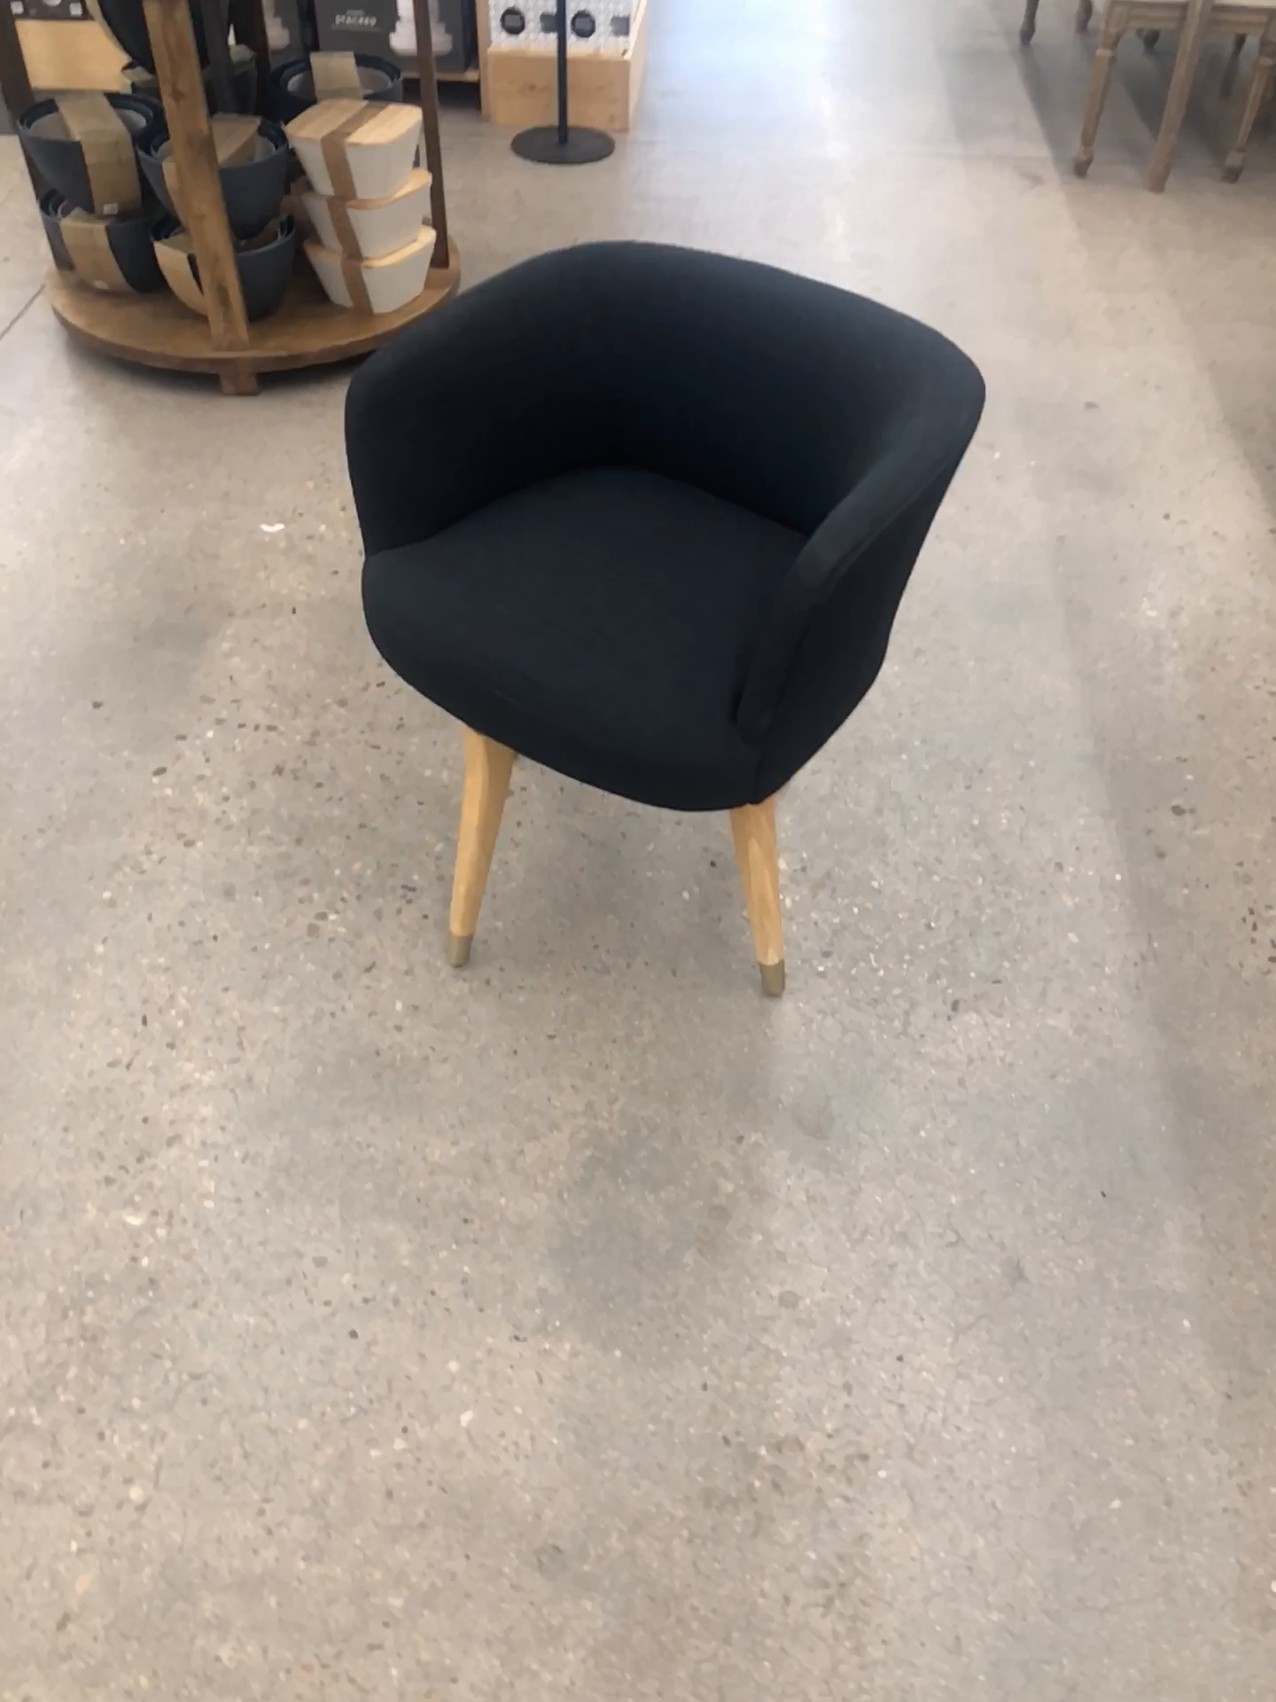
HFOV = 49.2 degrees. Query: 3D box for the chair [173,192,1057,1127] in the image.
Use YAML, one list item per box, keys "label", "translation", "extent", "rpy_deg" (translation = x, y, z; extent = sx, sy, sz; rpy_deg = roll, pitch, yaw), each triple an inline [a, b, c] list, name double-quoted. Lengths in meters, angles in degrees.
- label: "chair"
  translation: [-0.023, -0.240, 1.578]
  extent: [0.603, 0.670, 0.604]
  rpy_deg: [34, 53, 29]
